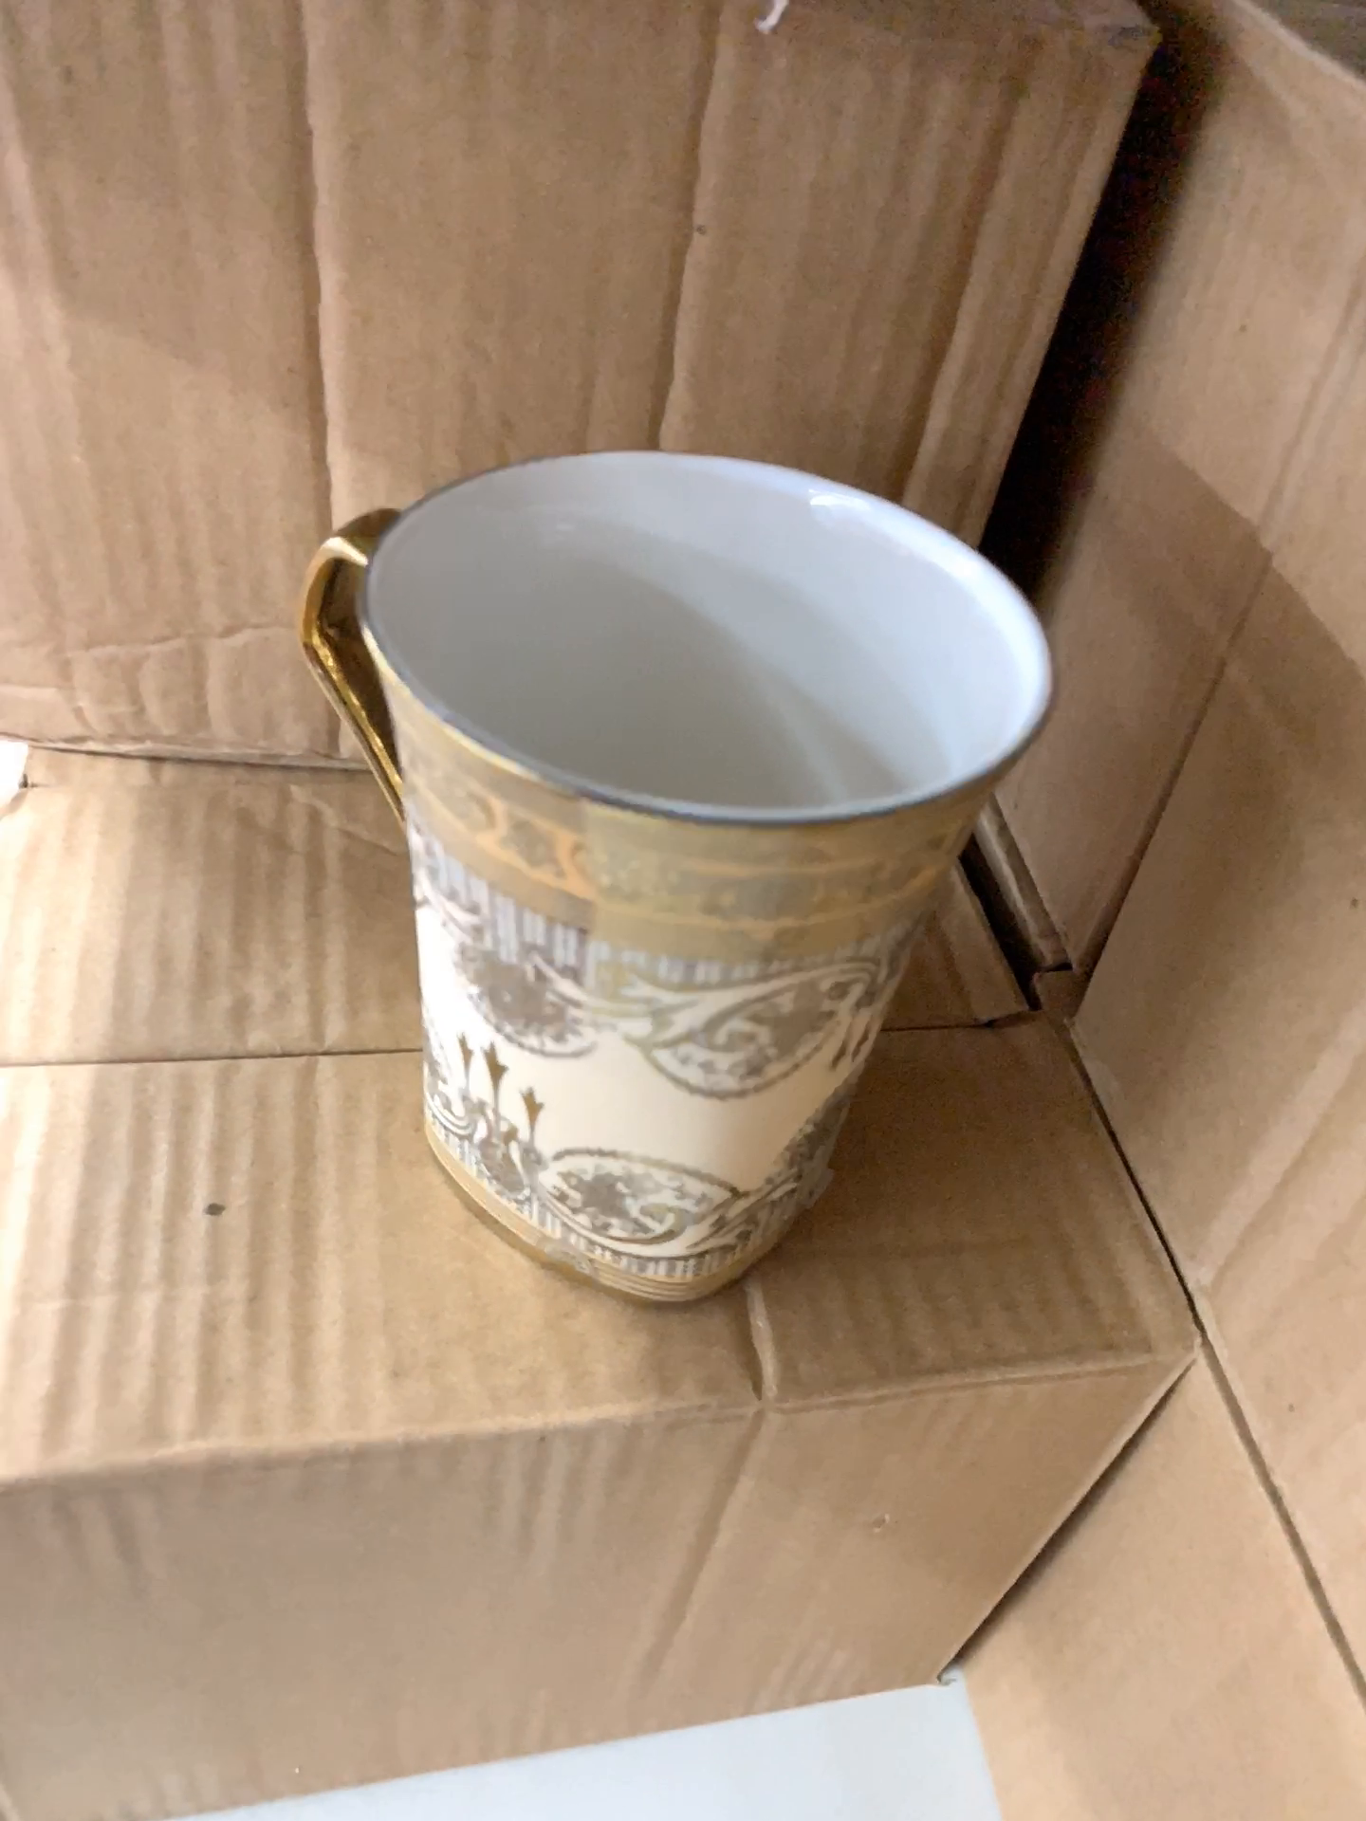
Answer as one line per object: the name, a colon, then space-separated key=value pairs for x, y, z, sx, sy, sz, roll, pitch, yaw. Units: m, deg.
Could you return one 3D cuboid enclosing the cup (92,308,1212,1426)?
cup: x=-0.006 y=-0.012 z=0.199 sx=0.105 sy=0.092 sz=0.084 roll=32 pitch=49 yaw=24
